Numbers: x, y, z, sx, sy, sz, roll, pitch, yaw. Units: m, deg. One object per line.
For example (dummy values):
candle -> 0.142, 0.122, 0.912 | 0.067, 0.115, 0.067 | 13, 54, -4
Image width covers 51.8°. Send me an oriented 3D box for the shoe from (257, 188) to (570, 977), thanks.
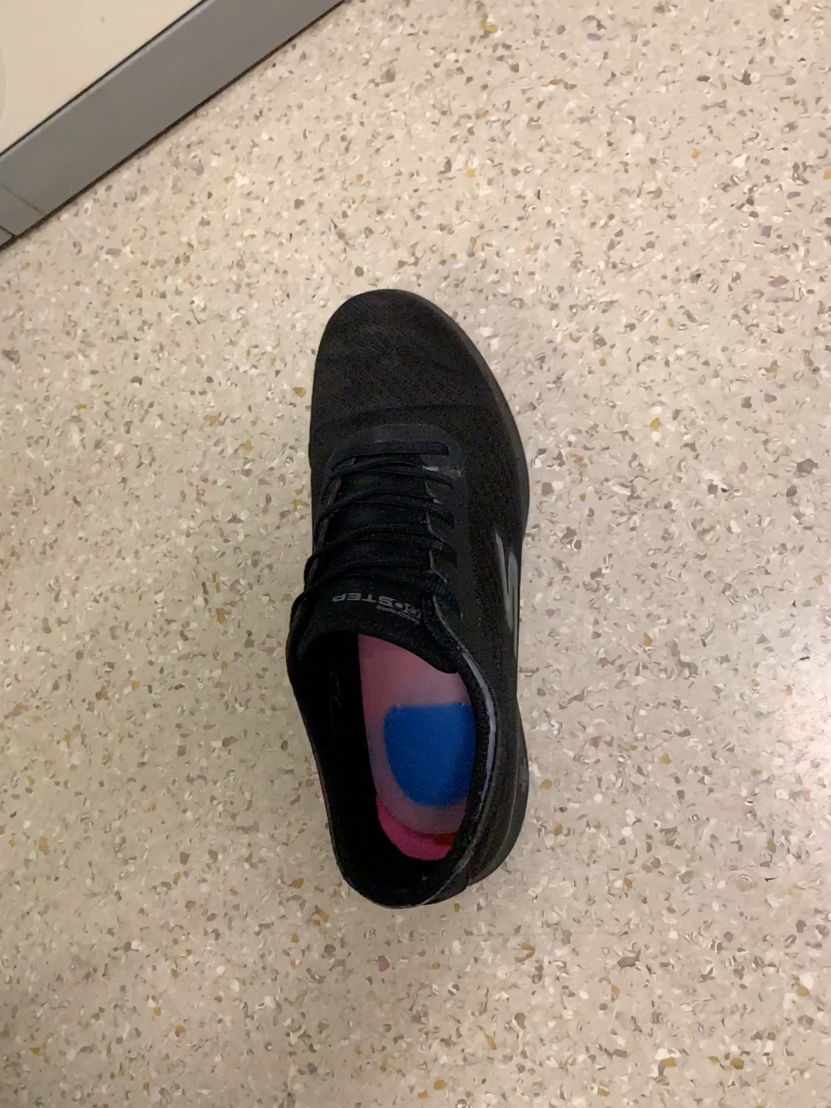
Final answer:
shoe -> 0.003, 0.010, 0.364 | 0.104, 0.100, 0.280 | -3, 83, 15
